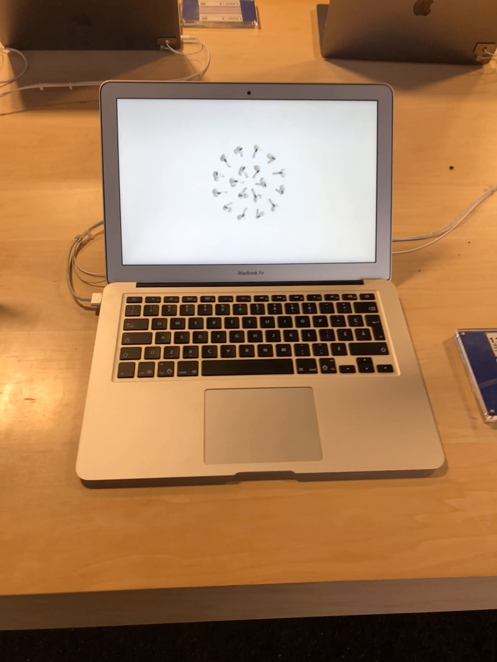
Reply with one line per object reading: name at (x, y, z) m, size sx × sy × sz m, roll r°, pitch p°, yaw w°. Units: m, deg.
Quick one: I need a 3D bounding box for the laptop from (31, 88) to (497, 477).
laptop at (0.008, -0.072, 0.530) m, size 0.311 × 0.151 × 0.372 m, roll -1°, pitch 50°, yaw -4°
